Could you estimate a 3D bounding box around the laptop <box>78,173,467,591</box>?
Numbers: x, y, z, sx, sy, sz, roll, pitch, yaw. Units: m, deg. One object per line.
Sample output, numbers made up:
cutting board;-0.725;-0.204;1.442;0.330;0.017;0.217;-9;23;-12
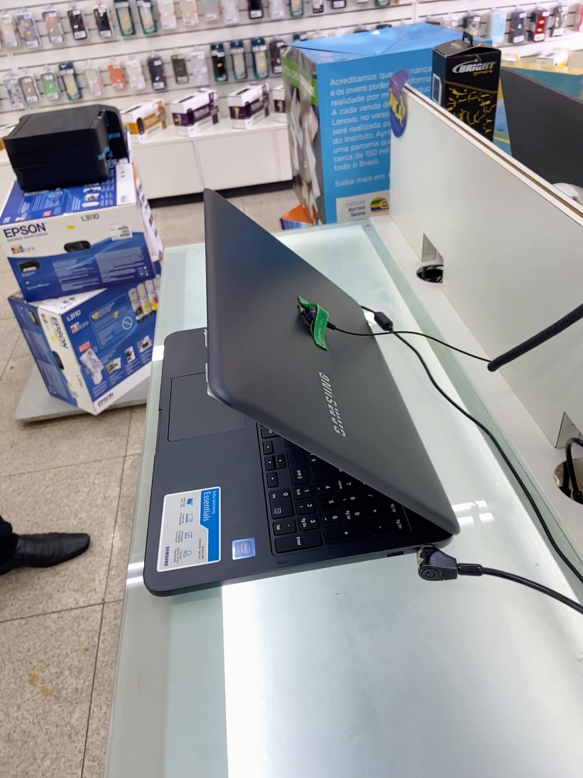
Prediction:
laptop;-0.025;-0.042;0.572;0.245;0.173;0.374;-9;37;-2
